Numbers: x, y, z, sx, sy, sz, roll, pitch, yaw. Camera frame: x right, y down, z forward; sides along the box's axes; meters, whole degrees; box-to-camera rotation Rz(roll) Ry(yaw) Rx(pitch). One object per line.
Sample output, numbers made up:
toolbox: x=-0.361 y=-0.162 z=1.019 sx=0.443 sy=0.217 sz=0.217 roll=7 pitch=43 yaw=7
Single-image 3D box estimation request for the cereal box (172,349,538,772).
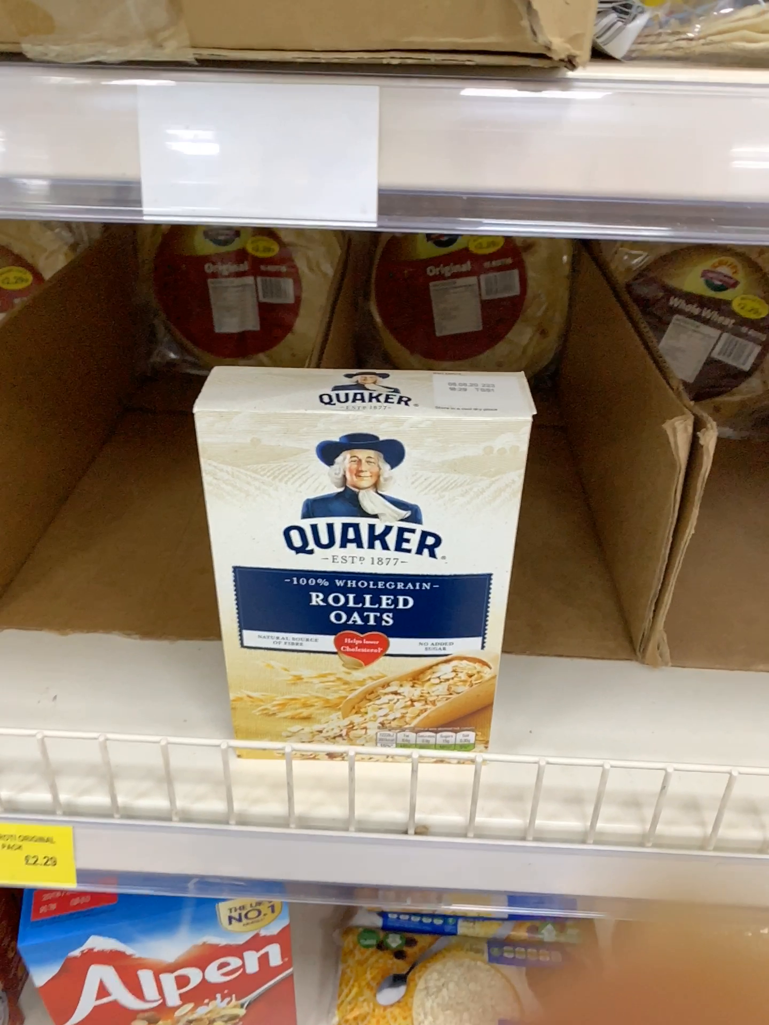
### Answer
cereal box: x=-0.014 y=0.036 z=0.408 sx=0.150 sy=0.228 sz=0.050 roll=1 pitch=33 yaw=0
